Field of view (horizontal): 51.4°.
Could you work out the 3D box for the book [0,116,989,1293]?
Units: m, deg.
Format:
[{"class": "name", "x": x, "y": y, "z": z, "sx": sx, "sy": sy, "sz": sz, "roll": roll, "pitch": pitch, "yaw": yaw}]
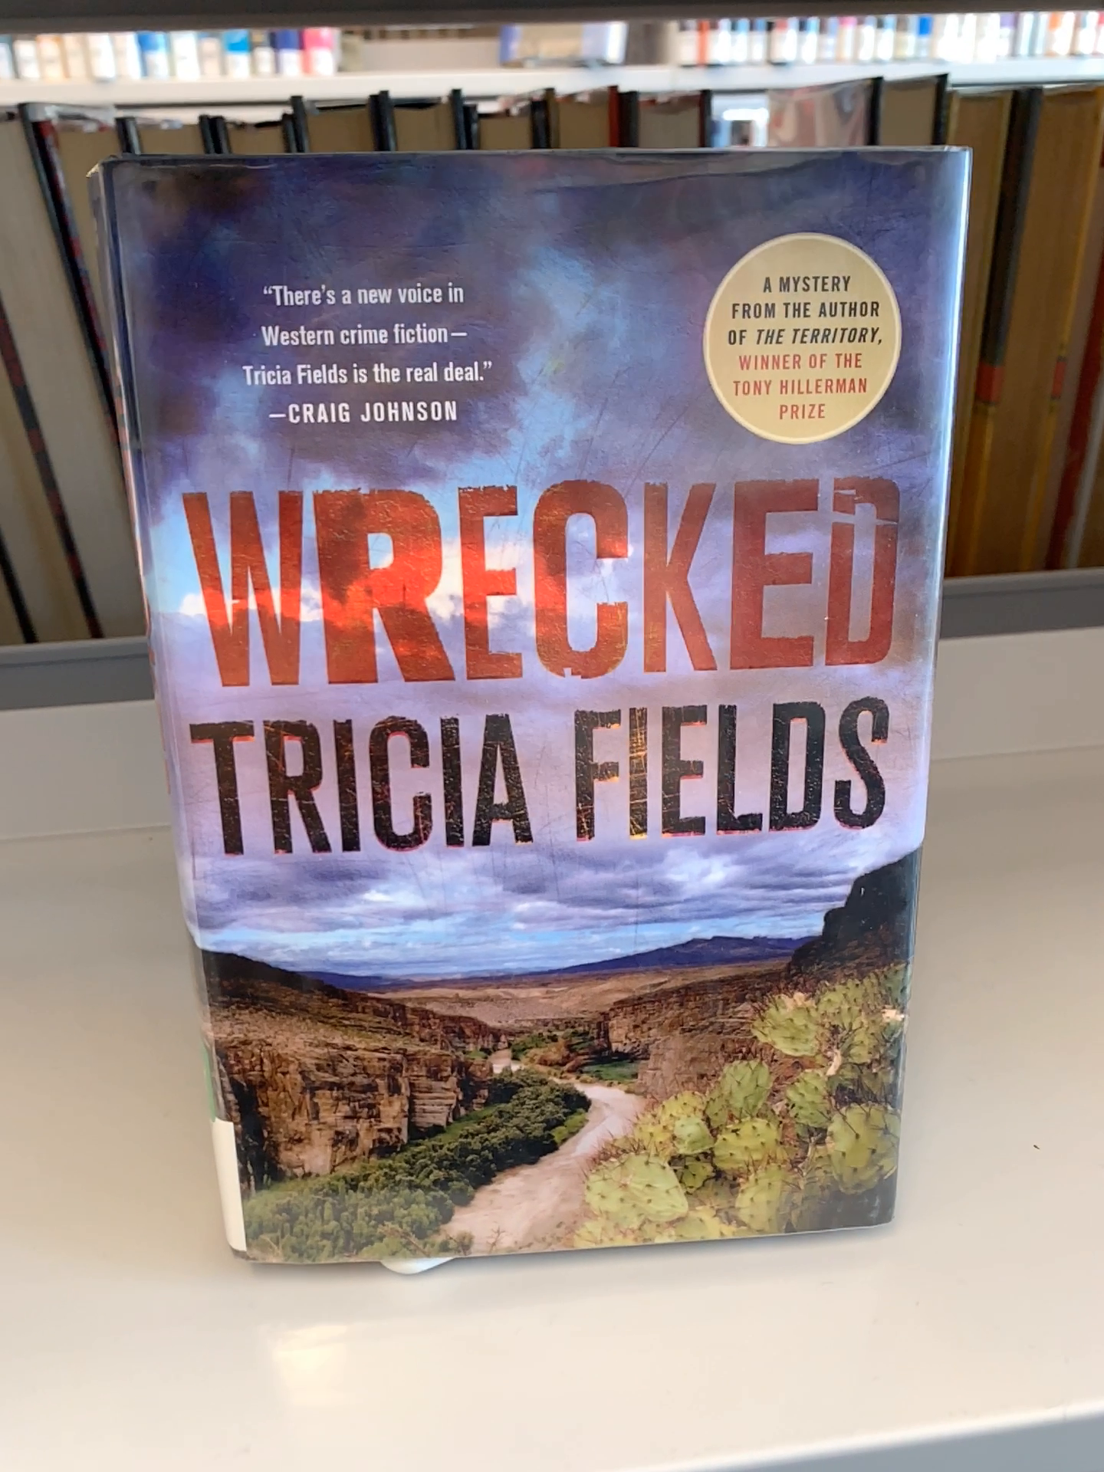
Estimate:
[{"class": "book", "x": -0.006, "y": 0.002, "z": 0.217, "sx": 0.150, "sy": 0.203, "sz": 0.040, "roll": -3, "pitch": 17, "yaw": -3}]
